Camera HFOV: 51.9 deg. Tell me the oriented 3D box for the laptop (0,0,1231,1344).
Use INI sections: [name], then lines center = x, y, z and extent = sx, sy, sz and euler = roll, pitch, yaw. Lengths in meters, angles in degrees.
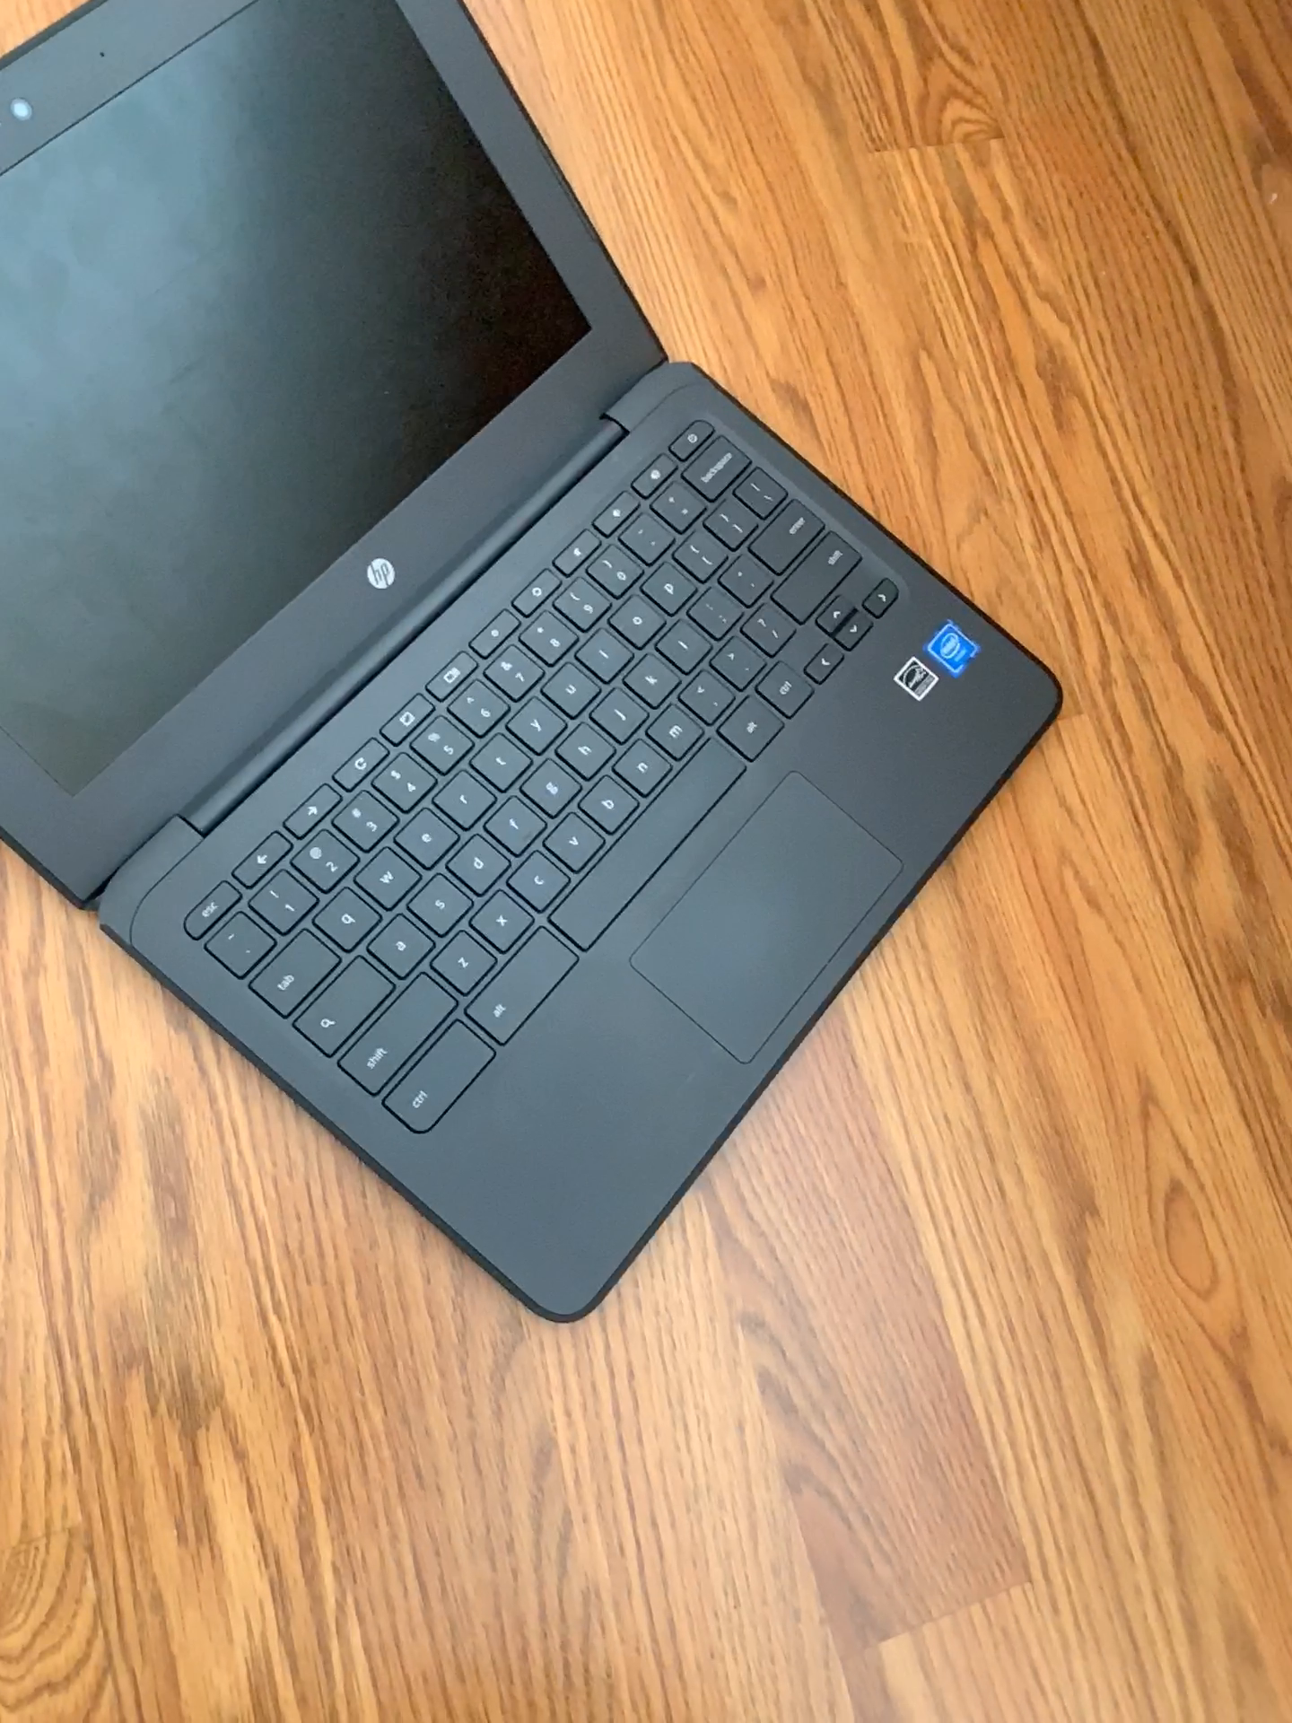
[laptop]
center = -0.057, -0.091, 0.426
extent = 0.360, 0.110, 0.300
euler = 41, 71, 2
